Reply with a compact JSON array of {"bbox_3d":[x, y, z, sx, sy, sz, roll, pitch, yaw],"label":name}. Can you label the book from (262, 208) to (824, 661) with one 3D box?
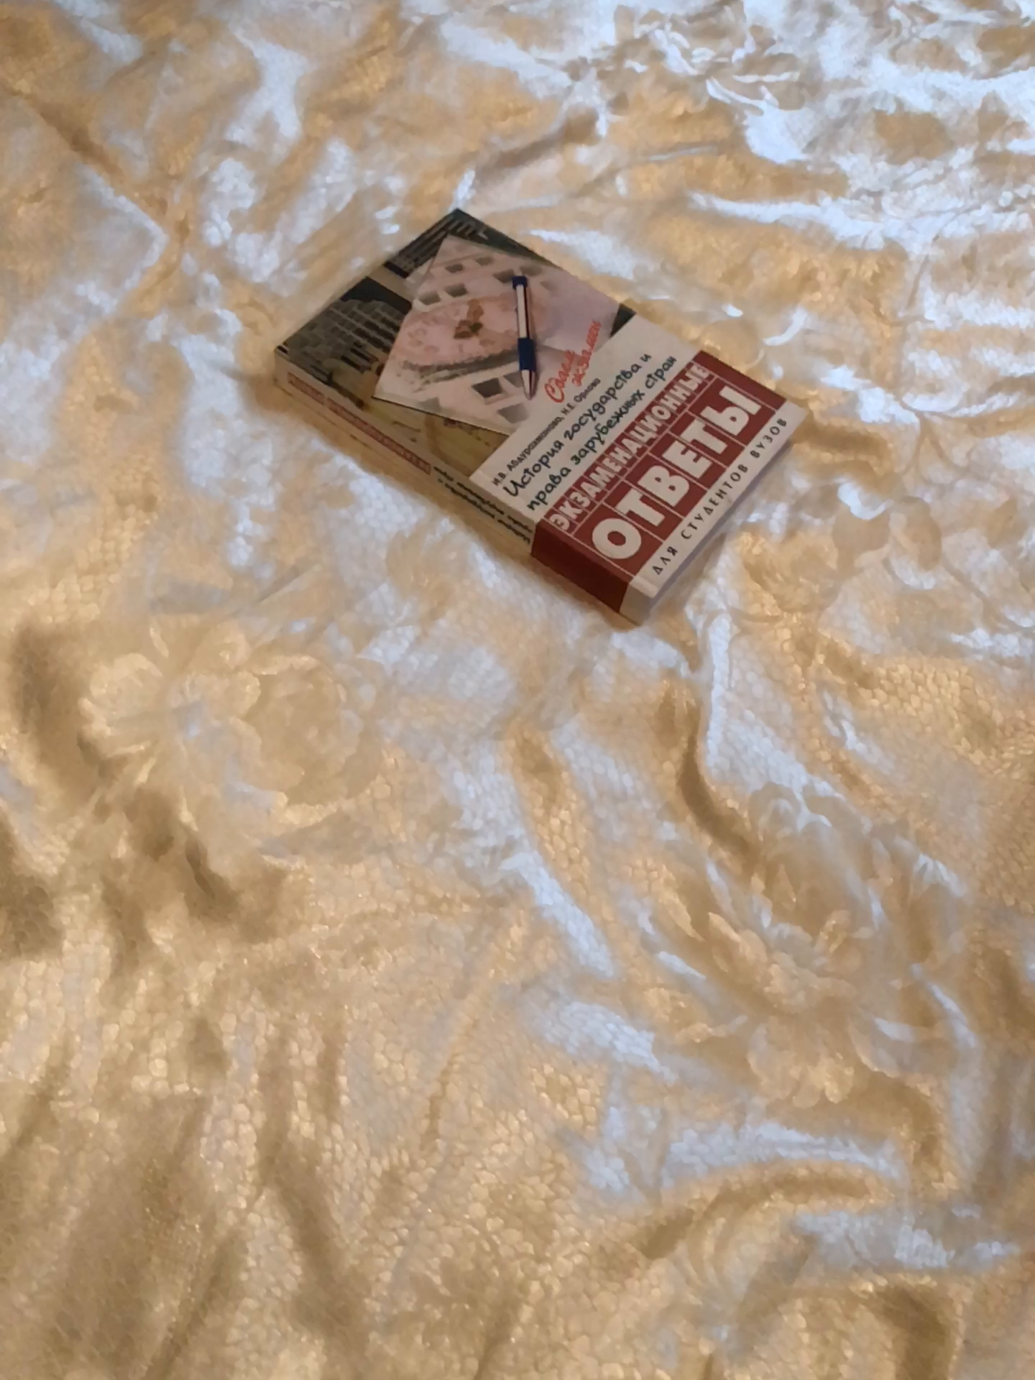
[{"bbox_3d":[0.012,-0.129,0.535,0.210,0.030,0.151,35,63,14],"label":"book"}]
